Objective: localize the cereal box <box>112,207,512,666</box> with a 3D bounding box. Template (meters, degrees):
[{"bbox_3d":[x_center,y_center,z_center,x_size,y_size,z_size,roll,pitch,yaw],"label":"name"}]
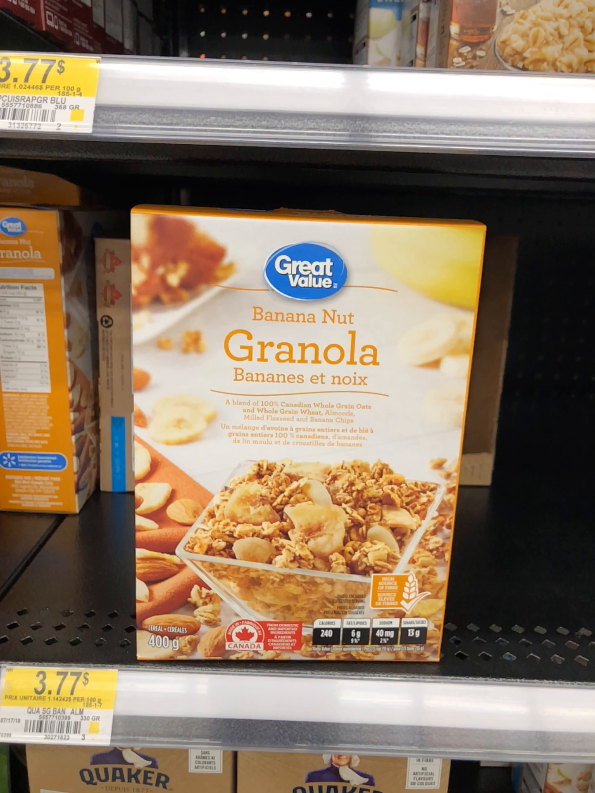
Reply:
[{"bbox_3d":[0.002,0.020,0.321,0.160,0.209,0.060,2,15,-1],"label":"cereal box"}]
